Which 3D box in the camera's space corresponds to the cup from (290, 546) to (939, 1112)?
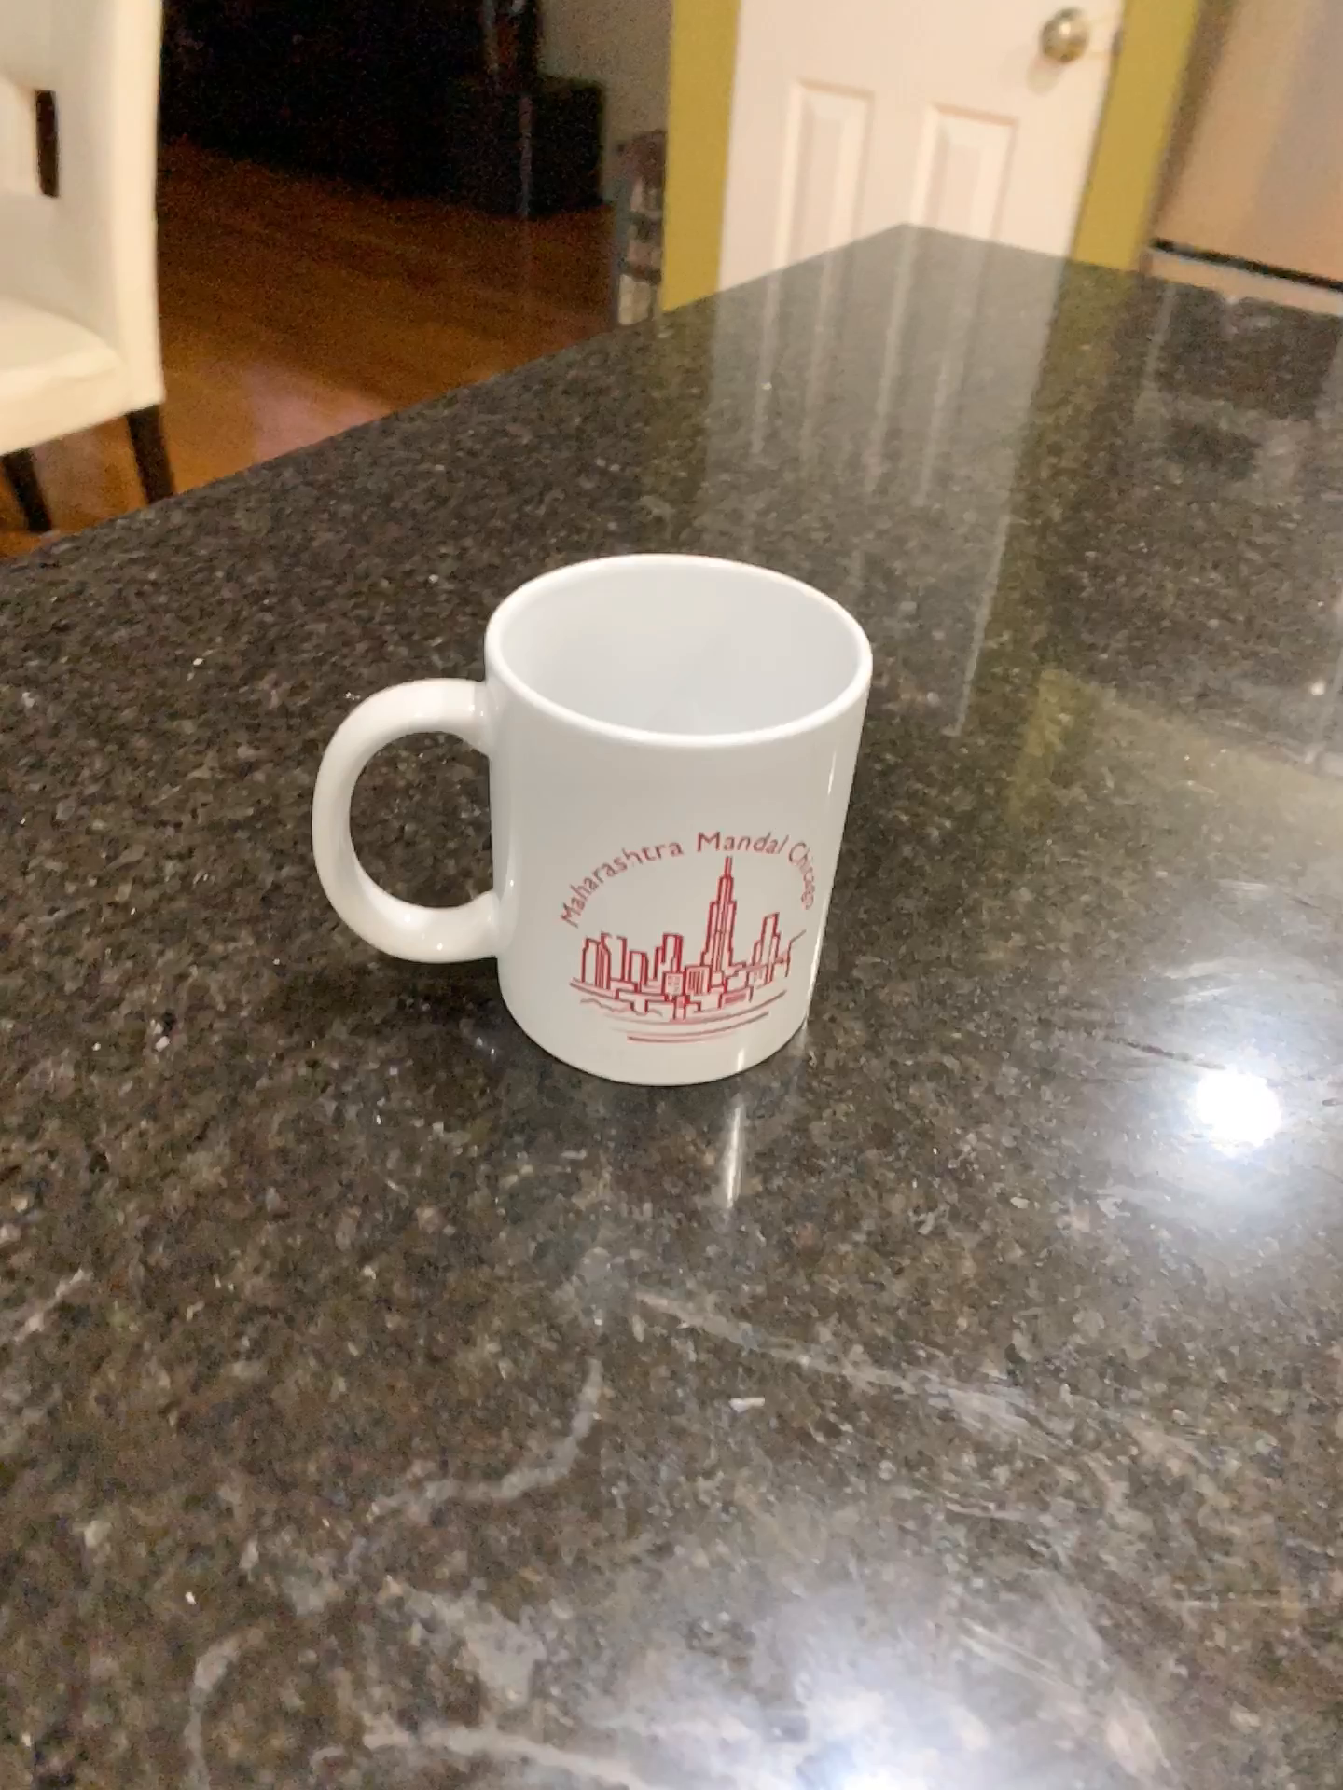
[{"bbox_3d":[-0.017,-0.018,0.323,0.124,0.097,0.082,-3,38,-8],"label":"cup"}]
